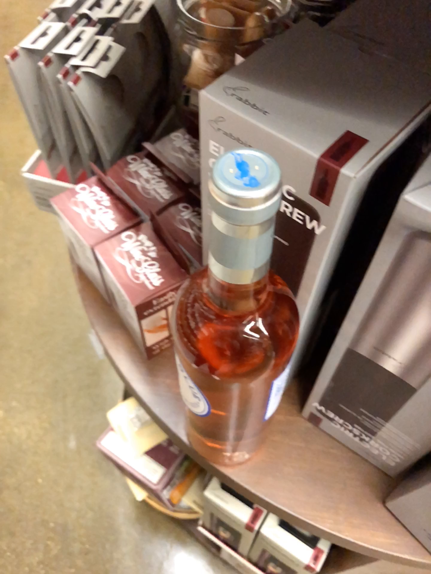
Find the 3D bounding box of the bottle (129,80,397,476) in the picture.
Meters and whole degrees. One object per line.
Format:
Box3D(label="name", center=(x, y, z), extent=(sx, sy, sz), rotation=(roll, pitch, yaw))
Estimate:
Box3D(label="bottle", center=(0.015, 0.033, 0.298), extent=(0.080, 0.289, 0.078), rotation=(0, 55, 1))
